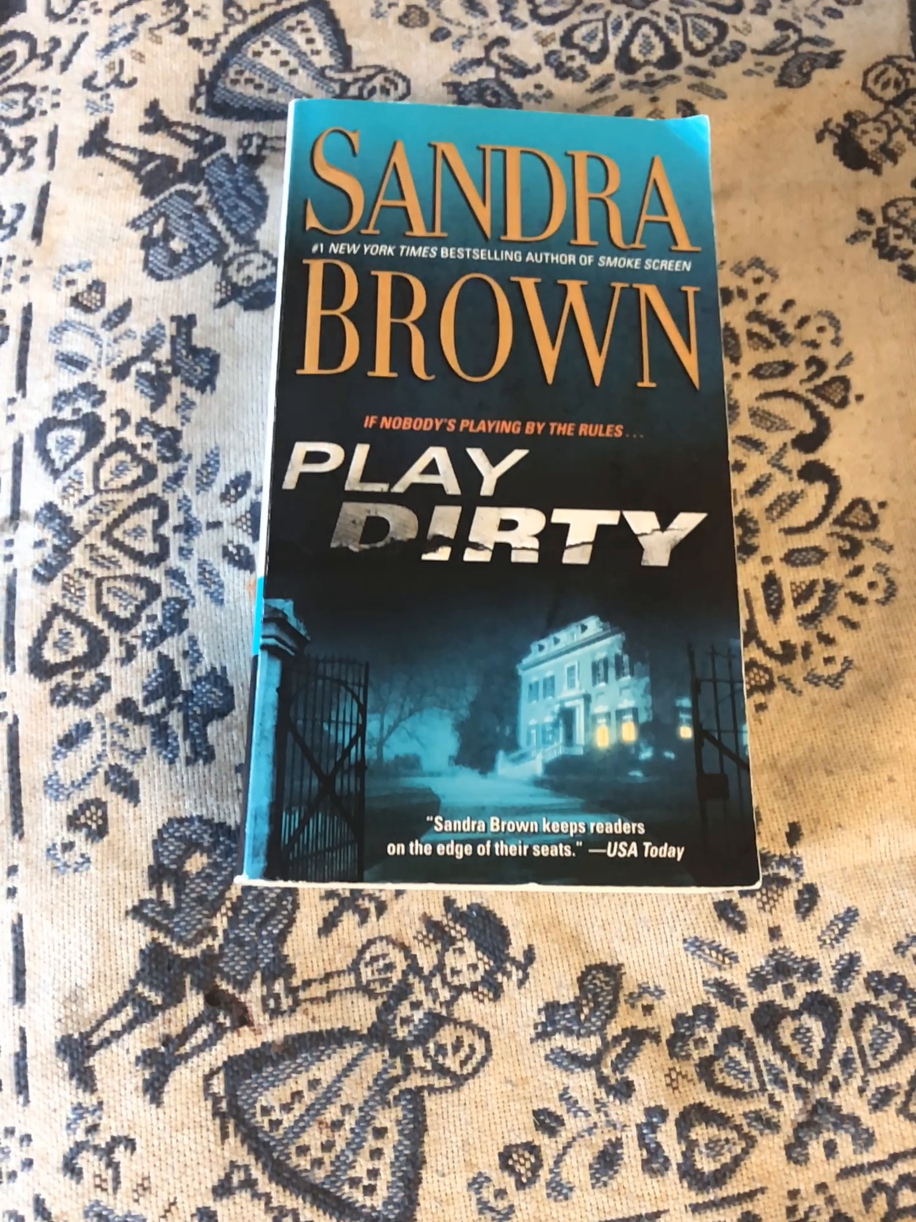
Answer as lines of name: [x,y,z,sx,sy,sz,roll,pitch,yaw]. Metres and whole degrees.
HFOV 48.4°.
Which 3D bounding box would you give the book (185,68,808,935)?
book: [0.007,-0.025,0.222,0.110,0.040,0.180,1,75,-3]
